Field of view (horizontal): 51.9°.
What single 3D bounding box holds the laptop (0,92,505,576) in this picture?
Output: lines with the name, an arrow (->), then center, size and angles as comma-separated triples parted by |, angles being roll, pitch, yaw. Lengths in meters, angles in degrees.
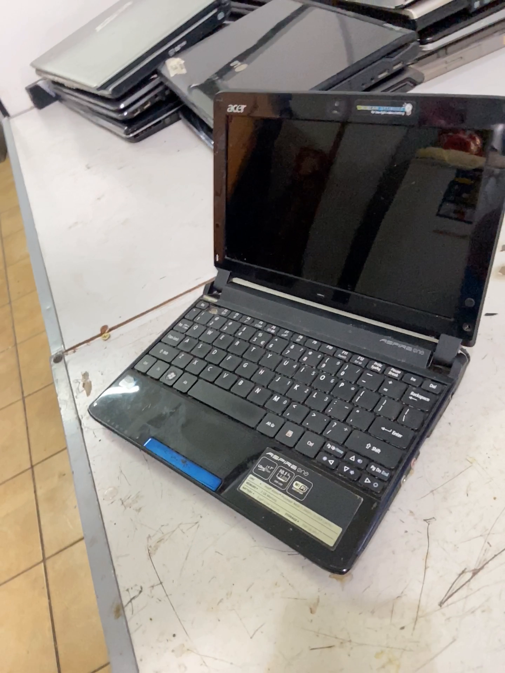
laptop -> 0.008, -0.039, 0.375 | 0.253, 0.144, 0.260 | 20, 58, 36
